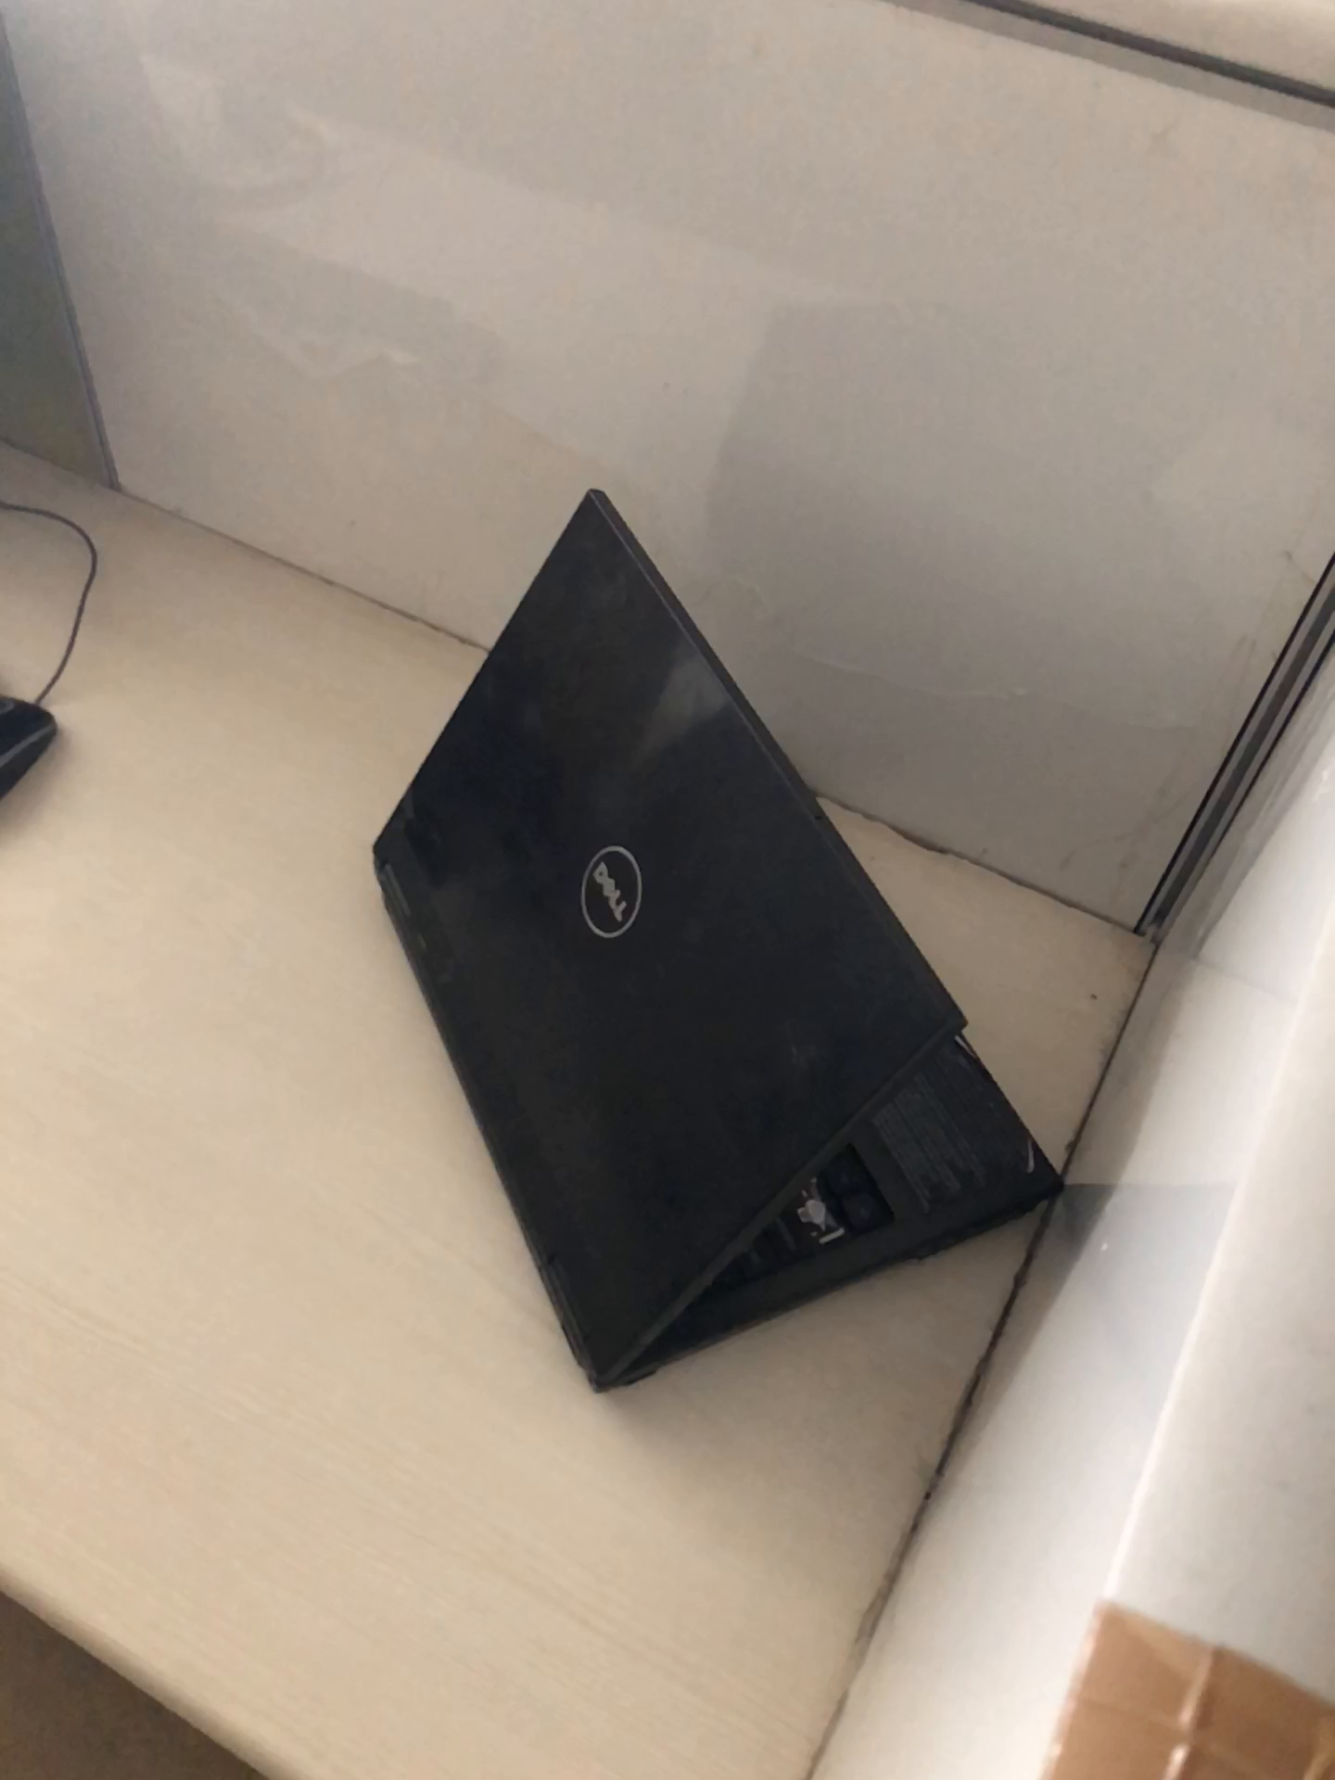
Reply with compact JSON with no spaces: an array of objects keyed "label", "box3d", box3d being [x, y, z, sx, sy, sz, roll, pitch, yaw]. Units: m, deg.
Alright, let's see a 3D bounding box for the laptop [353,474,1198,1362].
[{"label":"laptop","box3d":[0.025,-0.003,0.660,0.230,0.190,0.305,-16,55,-20]}]
